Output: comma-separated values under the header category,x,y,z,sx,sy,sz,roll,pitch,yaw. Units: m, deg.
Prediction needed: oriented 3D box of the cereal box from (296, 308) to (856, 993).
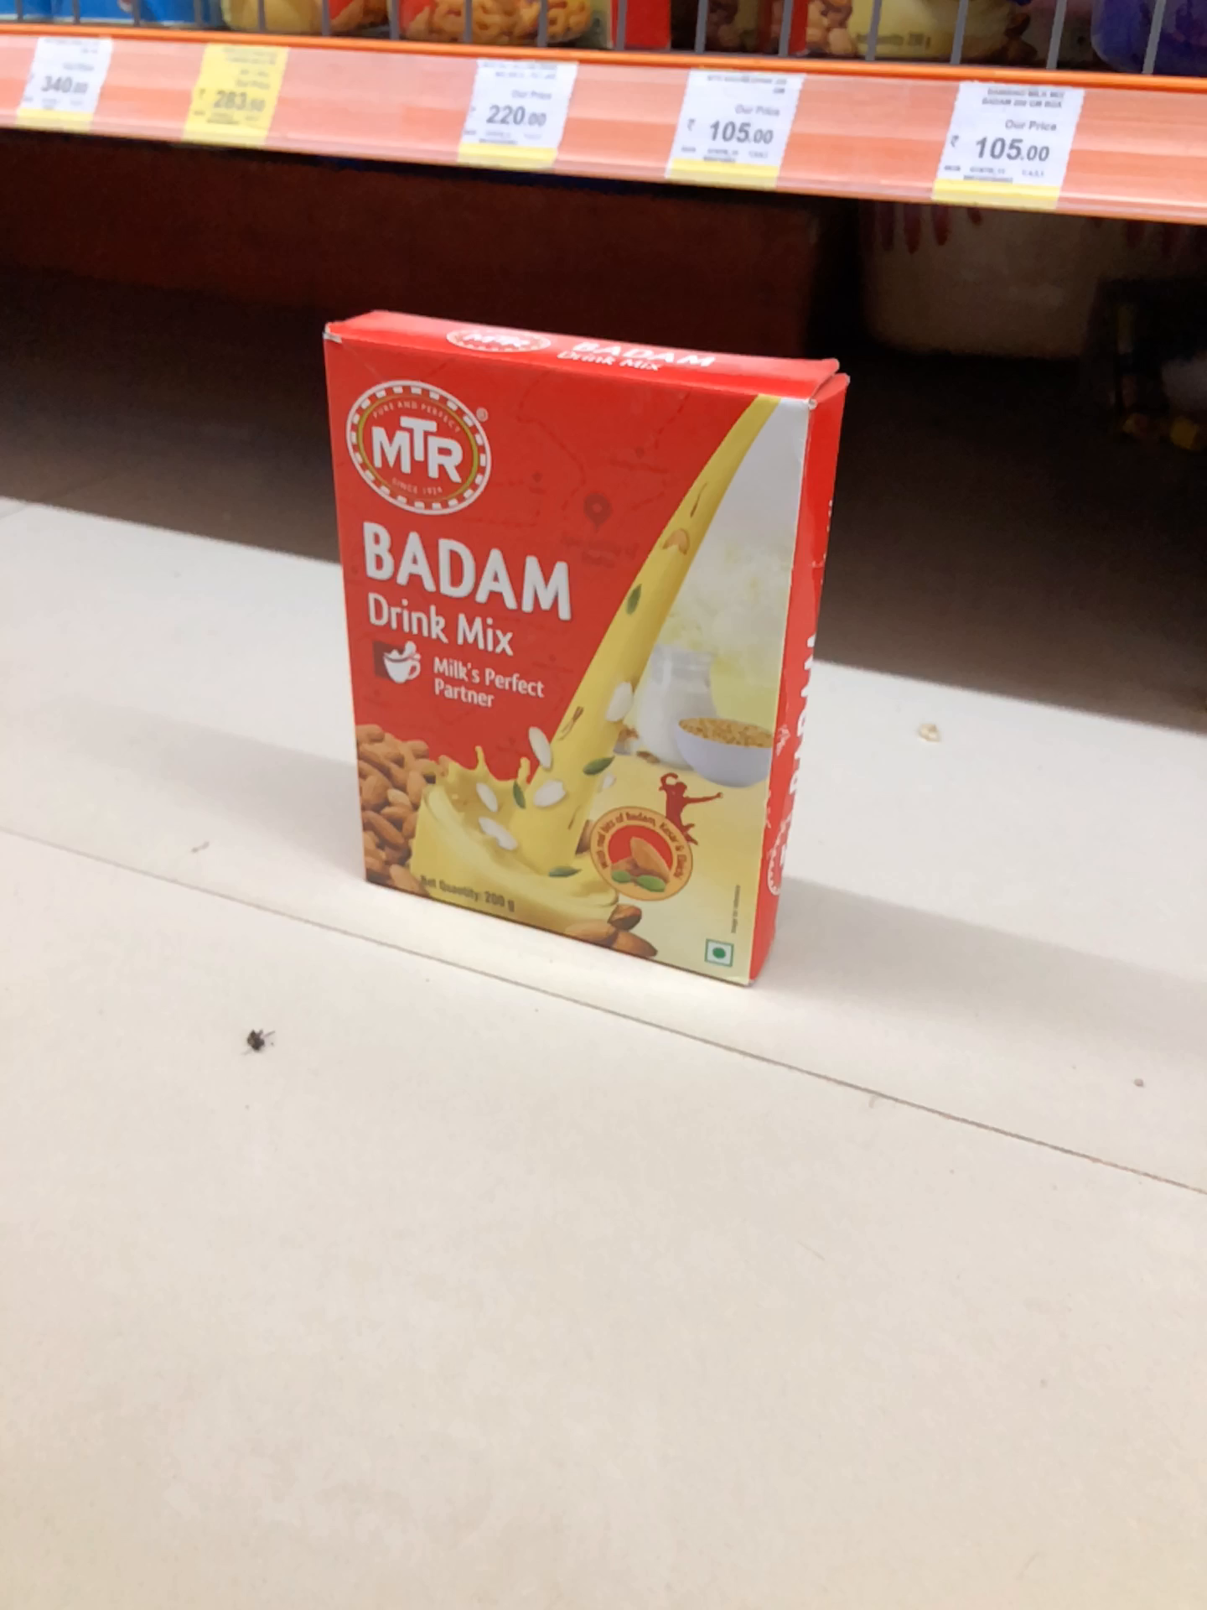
category,x,y,z,sx,sy,sz,roll,pitch,yaw
cereal box,-0.010,-0.041,0.363,0.130,0.159,0.040,13,32,18
